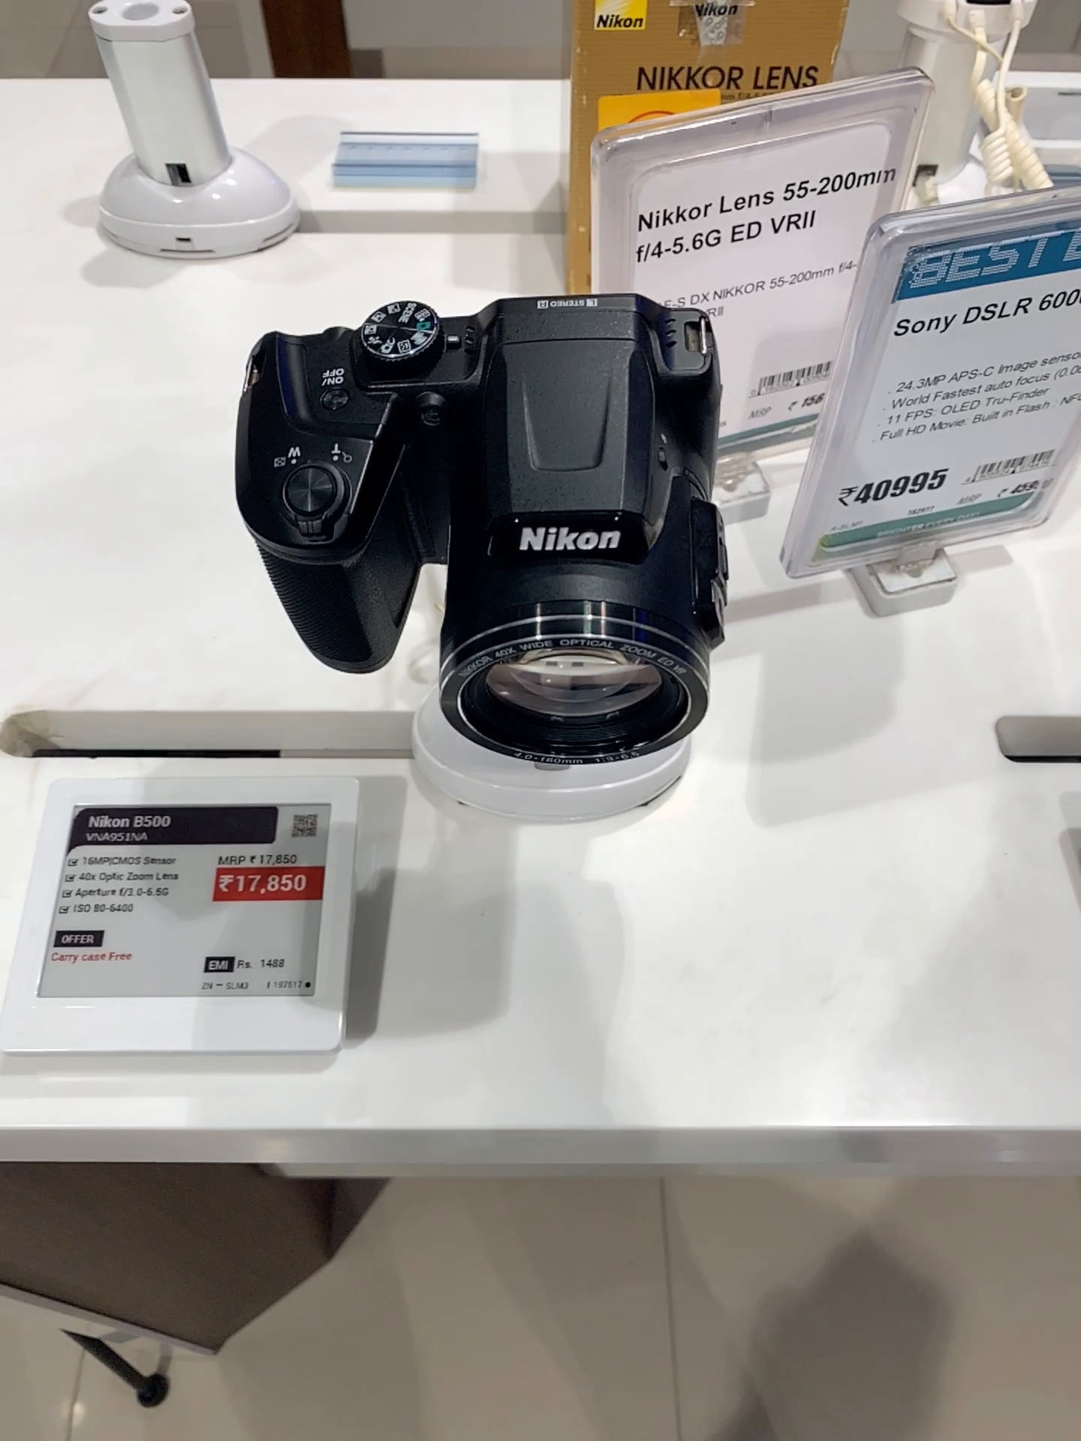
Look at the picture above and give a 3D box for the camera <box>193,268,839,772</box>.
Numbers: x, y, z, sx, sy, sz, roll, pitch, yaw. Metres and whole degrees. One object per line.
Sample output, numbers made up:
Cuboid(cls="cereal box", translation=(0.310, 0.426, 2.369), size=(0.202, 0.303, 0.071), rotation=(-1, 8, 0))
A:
Cuboid(cls="camera", translation=(-0.004, -0.041, 0.244), size=(0.112, 0.070, 0.084), rotation=(0, 63, 0))
